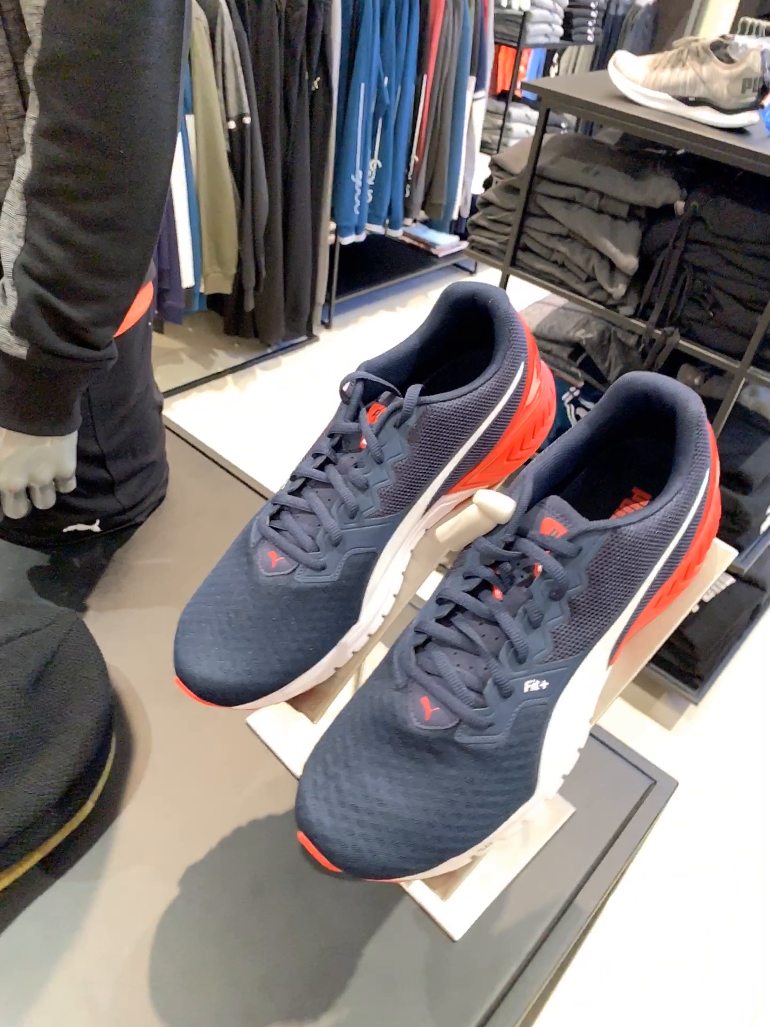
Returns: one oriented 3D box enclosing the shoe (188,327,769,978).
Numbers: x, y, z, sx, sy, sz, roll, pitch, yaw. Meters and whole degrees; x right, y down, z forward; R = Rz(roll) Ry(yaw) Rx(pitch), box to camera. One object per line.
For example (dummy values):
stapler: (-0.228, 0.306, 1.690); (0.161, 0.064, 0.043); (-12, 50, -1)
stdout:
shoe: (0.058, 0.053, 0.351); (0.100, 0.099, 0.261); (35, 71, 29)

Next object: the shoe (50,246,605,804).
shoe: (-0.013, -0.004, 0.377); (0.100, 0.079, 0.251); (35, 71, 29)
